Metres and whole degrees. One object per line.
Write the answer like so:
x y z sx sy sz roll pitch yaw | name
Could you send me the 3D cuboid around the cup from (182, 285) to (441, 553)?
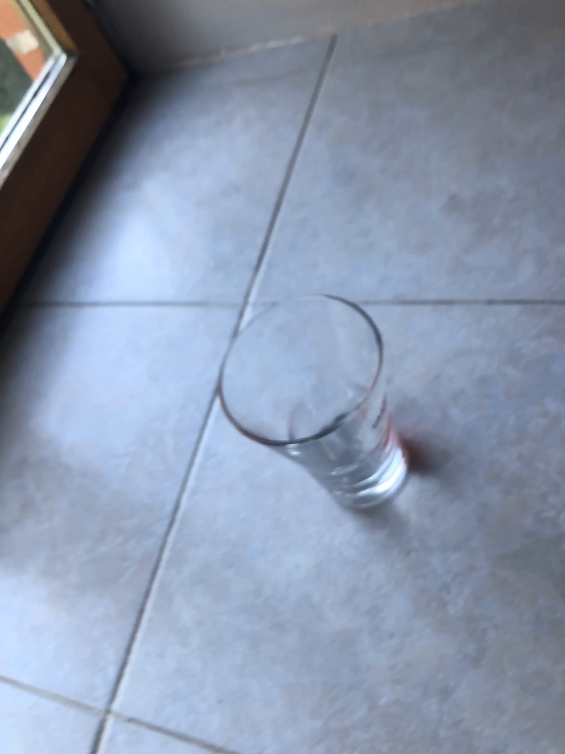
0.026 0.026 0.365 0.092 0.116 0.096 -10 57 16 | cup
